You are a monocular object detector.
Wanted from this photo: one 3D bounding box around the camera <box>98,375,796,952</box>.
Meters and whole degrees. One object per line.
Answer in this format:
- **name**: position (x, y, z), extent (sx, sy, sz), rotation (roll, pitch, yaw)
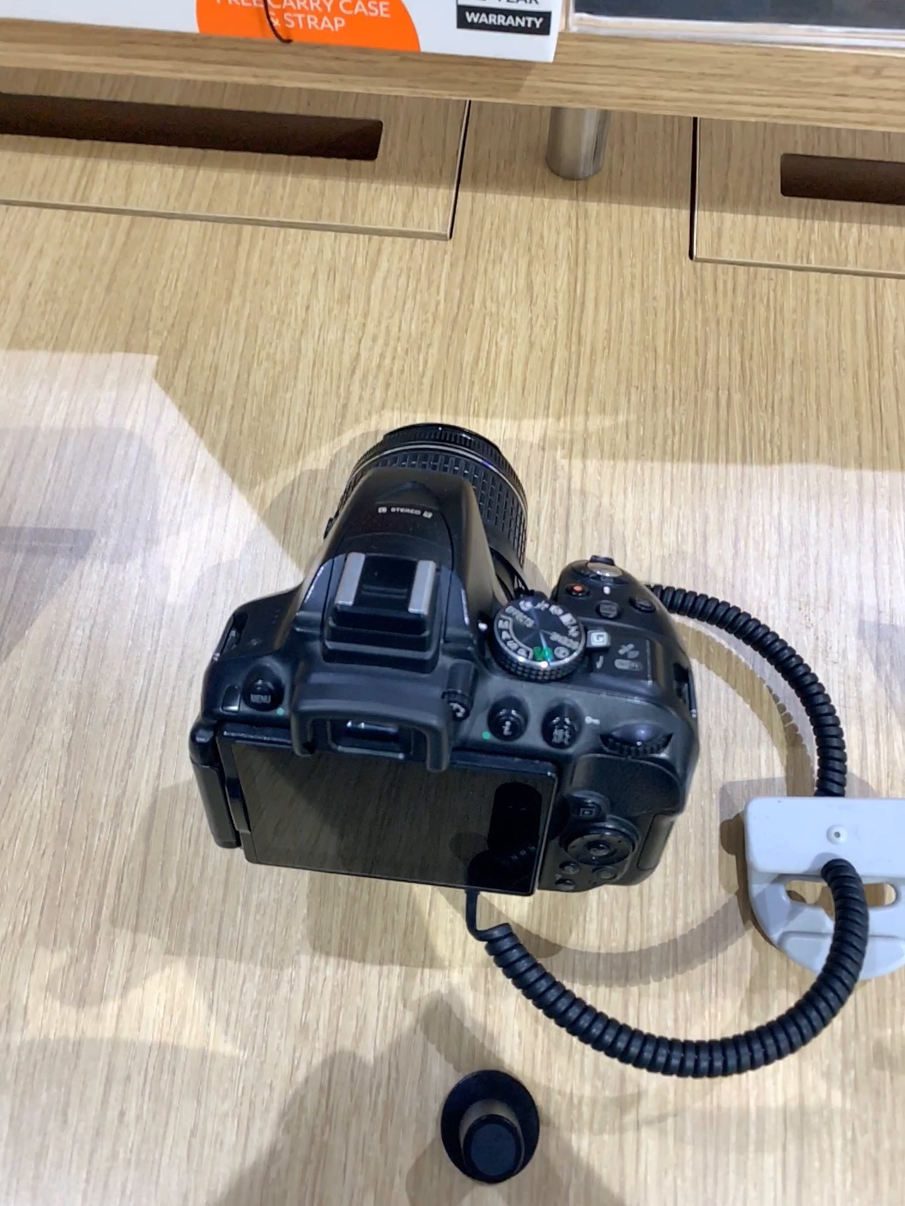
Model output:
- **camera**: position (0.002, 0.012, 0.238), extent (0.130, 0.080, 0.110), rotation (5, 47, 3)
